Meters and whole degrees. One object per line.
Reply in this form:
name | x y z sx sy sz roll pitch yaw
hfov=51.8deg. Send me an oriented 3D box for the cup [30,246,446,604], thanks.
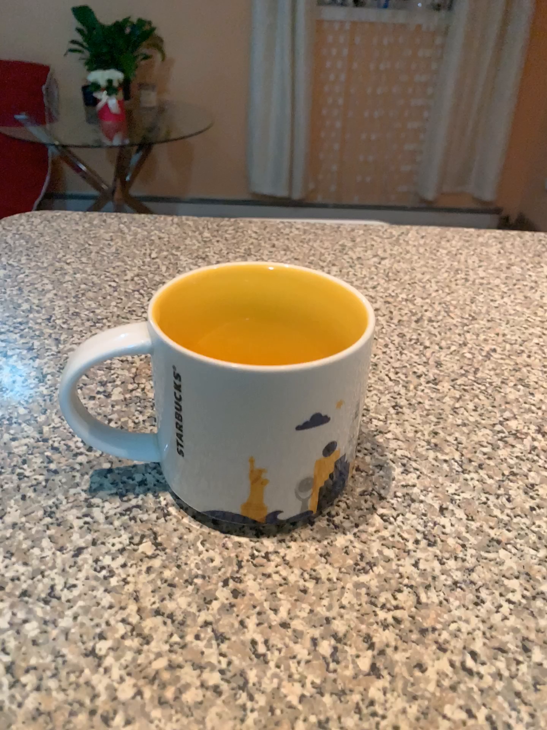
cup | -0.022 0.015 0.246 0.139 0.087 0.103 -9 36 -16
